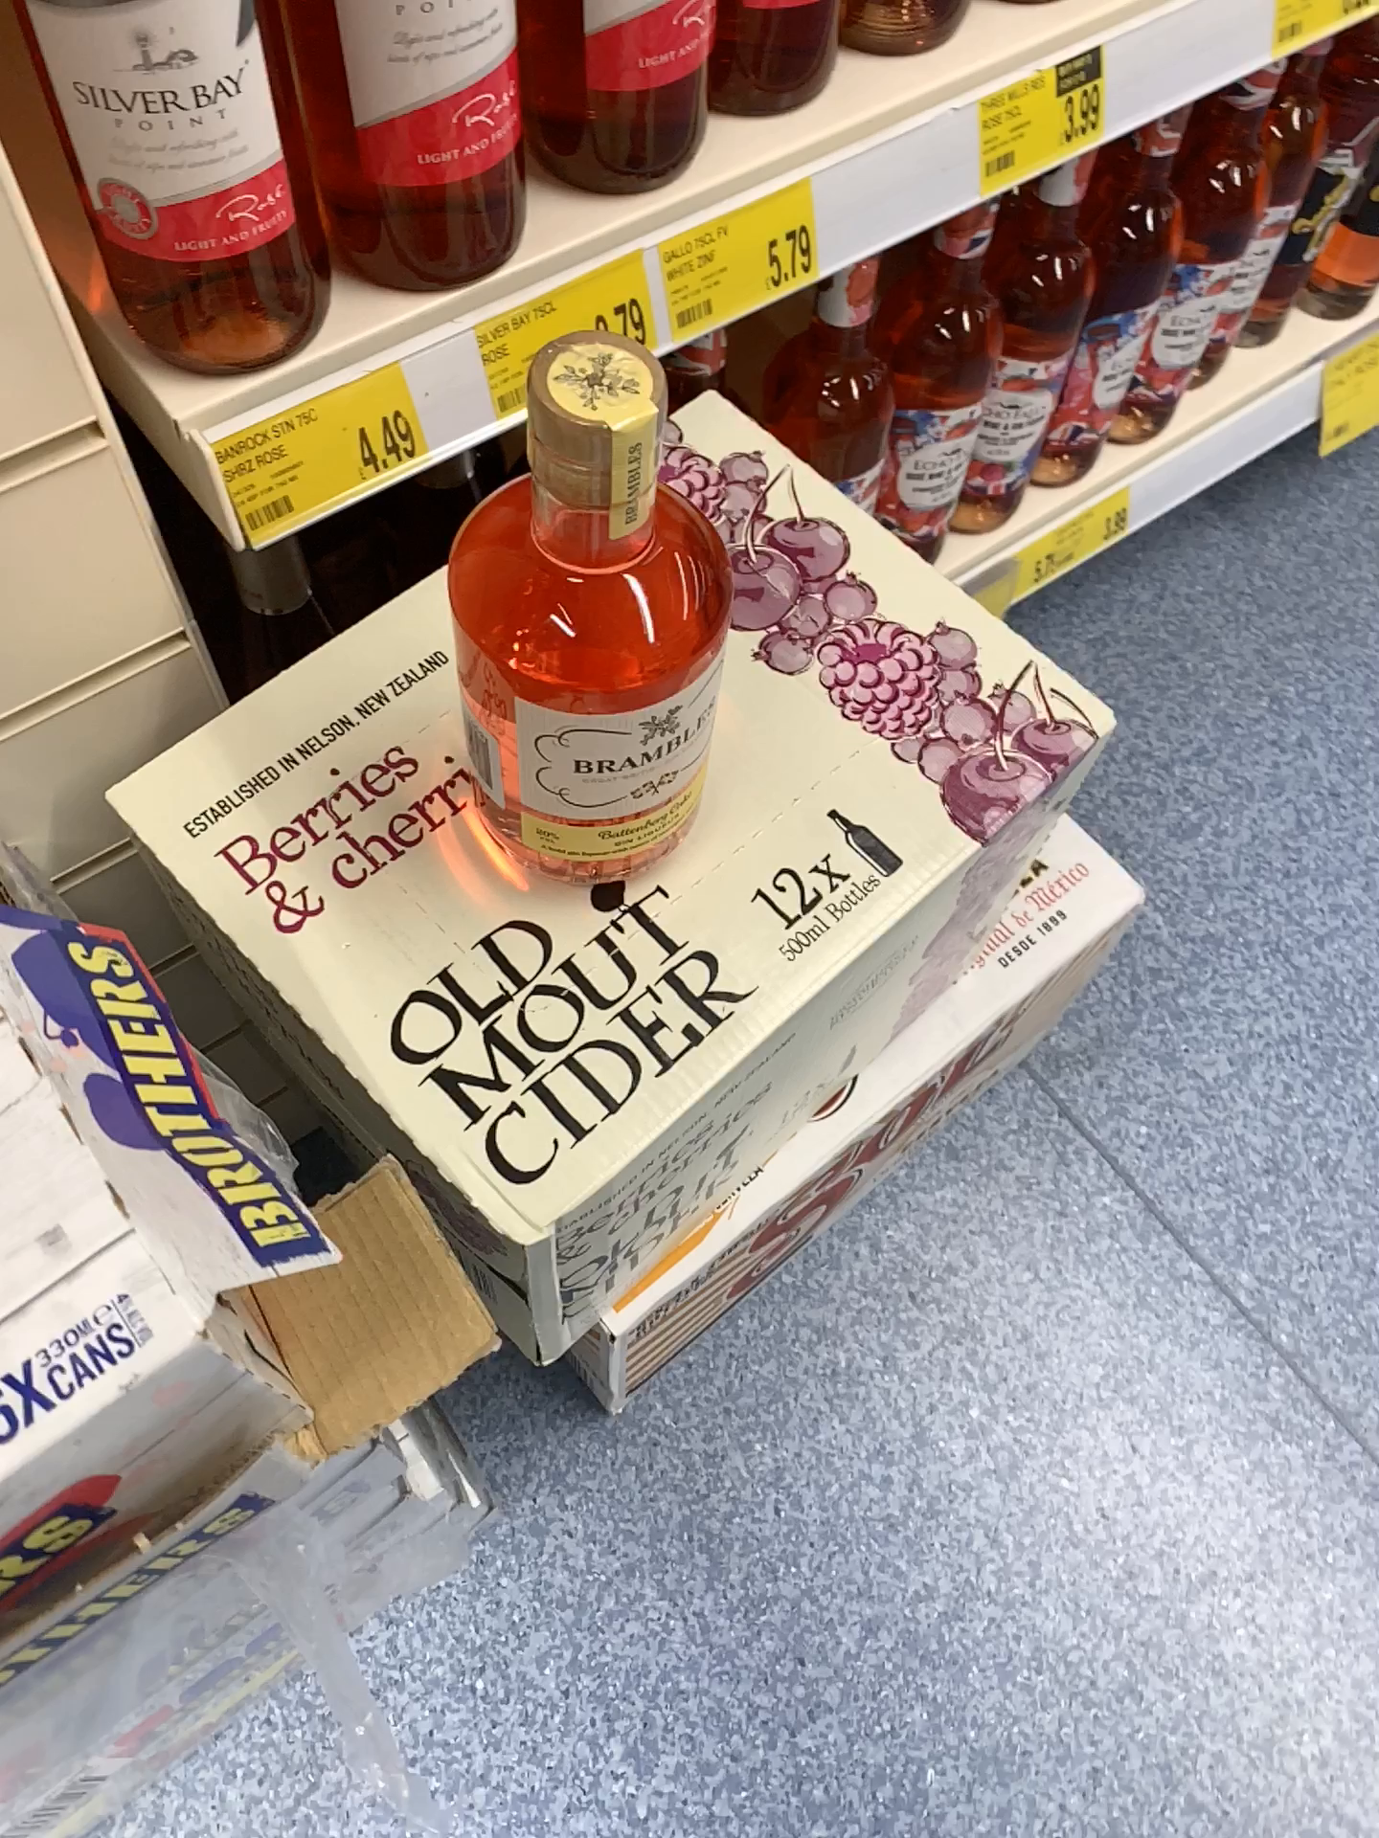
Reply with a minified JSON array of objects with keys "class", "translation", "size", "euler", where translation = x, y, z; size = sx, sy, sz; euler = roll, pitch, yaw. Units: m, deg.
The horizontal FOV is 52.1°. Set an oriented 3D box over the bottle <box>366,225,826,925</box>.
[{"class":"bottle","translation":[-0.026,-0.085,0.402],"size":[0.077,0.176,0.076],"euler":[1,63,-3]}]
